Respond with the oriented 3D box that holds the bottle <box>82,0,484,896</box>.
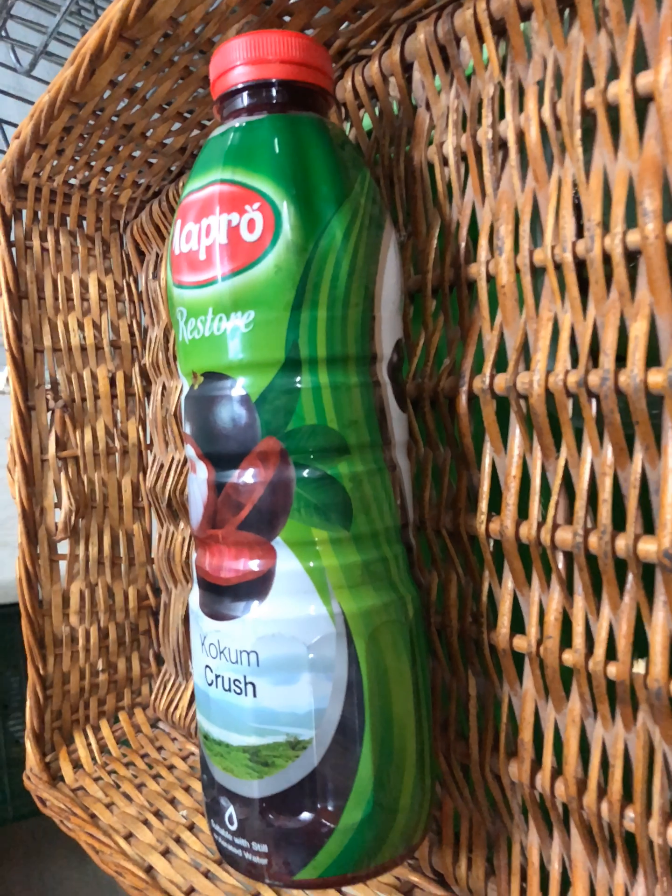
[{"bbox_3d":[-0.017,-0.008,0.236,0.080,0.080,0.270,-2,91,47],"label":"bottle"}]
